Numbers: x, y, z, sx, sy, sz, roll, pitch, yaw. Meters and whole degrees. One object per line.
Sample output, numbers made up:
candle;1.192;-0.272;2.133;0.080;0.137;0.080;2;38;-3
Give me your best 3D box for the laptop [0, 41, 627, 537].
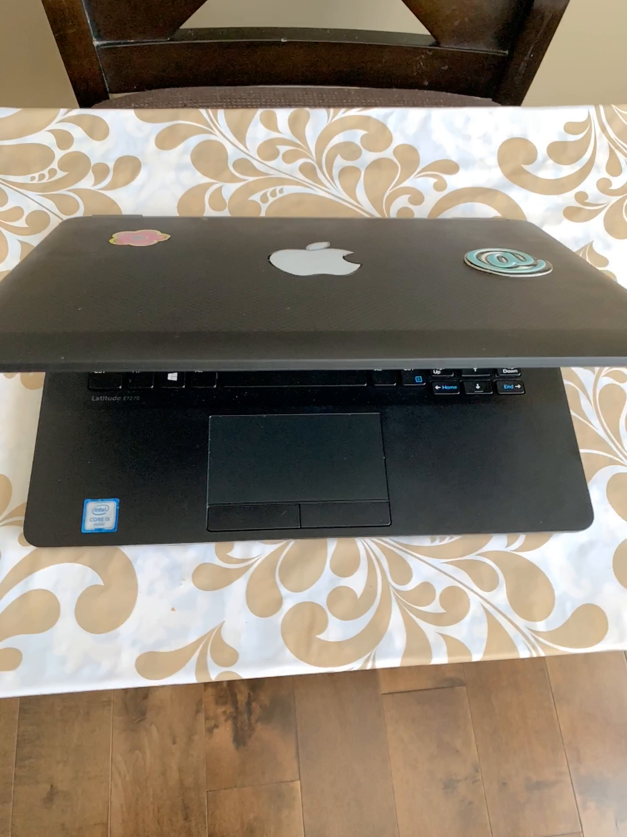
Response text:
laptop;0.002;-0.057;0.322;0.300;0.127;0.199;-1;66;-5
